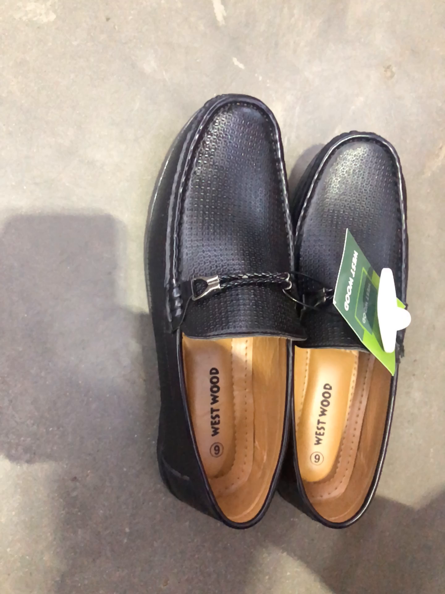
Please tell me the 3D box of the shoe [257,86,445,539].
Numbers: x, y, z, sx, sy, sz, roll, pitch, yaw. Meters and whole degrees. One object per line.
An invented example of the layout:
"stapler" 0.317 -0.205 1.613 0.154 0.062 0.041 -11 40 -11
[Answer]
"shoe" 0.088 0.013 0.347 0.090 0.070 0.280 5 91 -9

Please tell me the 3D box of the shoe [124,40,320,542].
"shoe" -0.004 -0.001 0.326 0.100 0.070 0.280 2 92 -20
